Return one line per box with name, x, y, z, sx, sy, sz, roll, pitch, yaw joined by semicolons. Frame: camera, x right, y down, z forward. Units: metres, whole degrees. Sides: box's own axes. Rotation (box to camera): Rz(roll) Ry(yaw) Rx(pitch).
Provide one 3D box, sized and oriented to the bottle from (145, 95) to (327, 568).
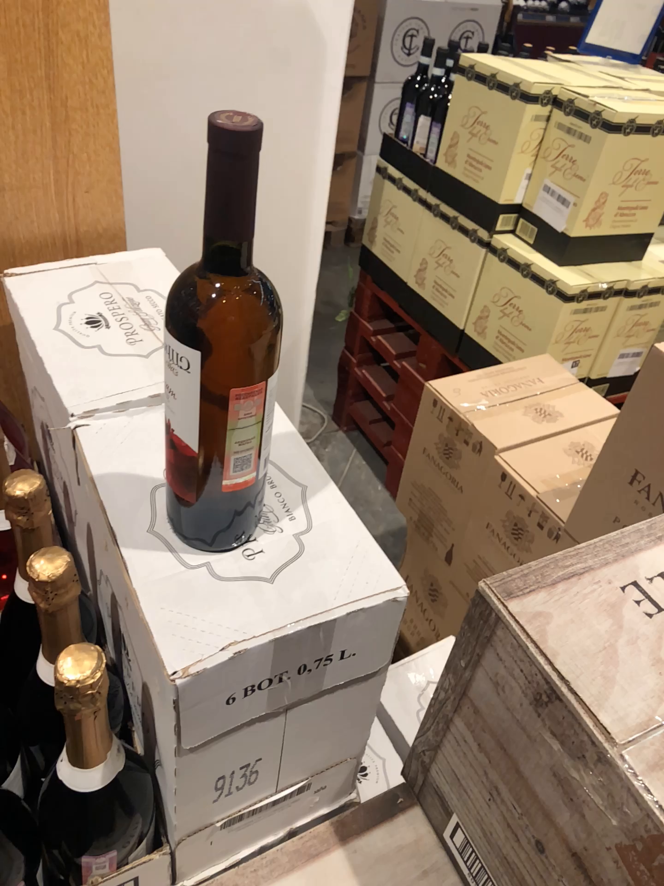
bottle;-0.074;-0.056;0.486;0.080;0.298;0.090;-6;41;-19
